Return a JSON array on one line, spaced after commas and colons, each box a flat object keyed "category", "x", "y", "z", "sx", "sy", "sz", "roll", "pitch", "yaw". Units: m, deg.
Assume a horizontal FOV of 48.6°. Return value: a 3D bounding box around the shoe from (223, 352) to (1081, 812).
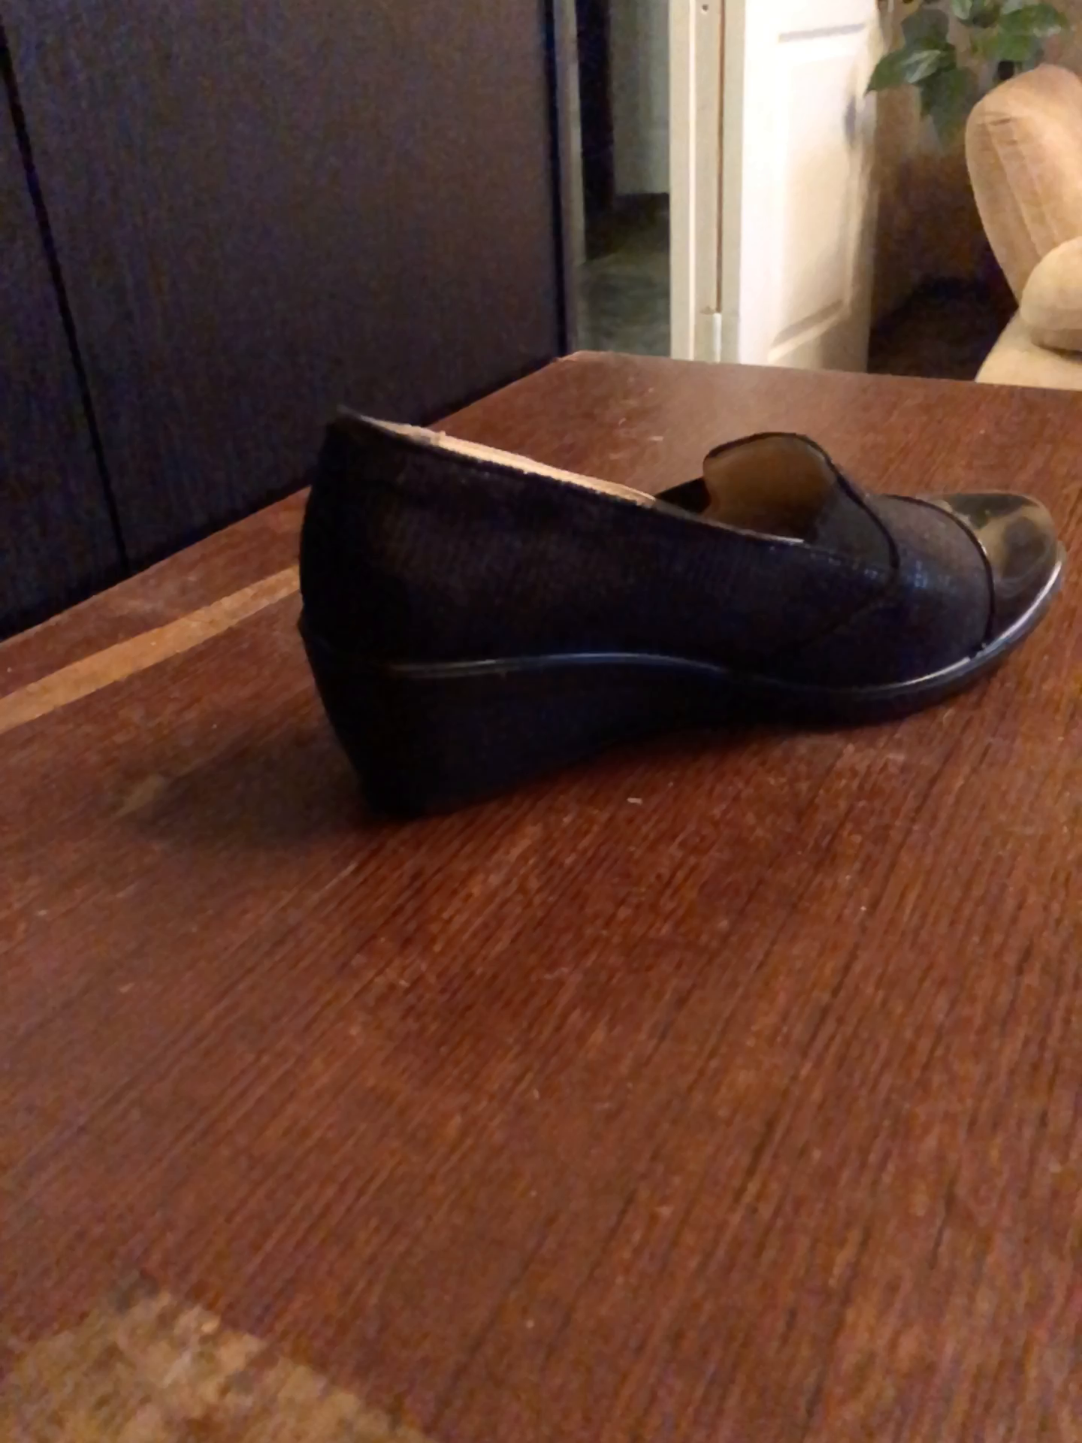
[{"category": "shoe", "x": 0.045, "y": -0.050, "z": 0.323, "sx": 0.236, "sy": 0.070, "sz": 0.090, "roll": -10, "pitch": 30, "yaw": -21}]
